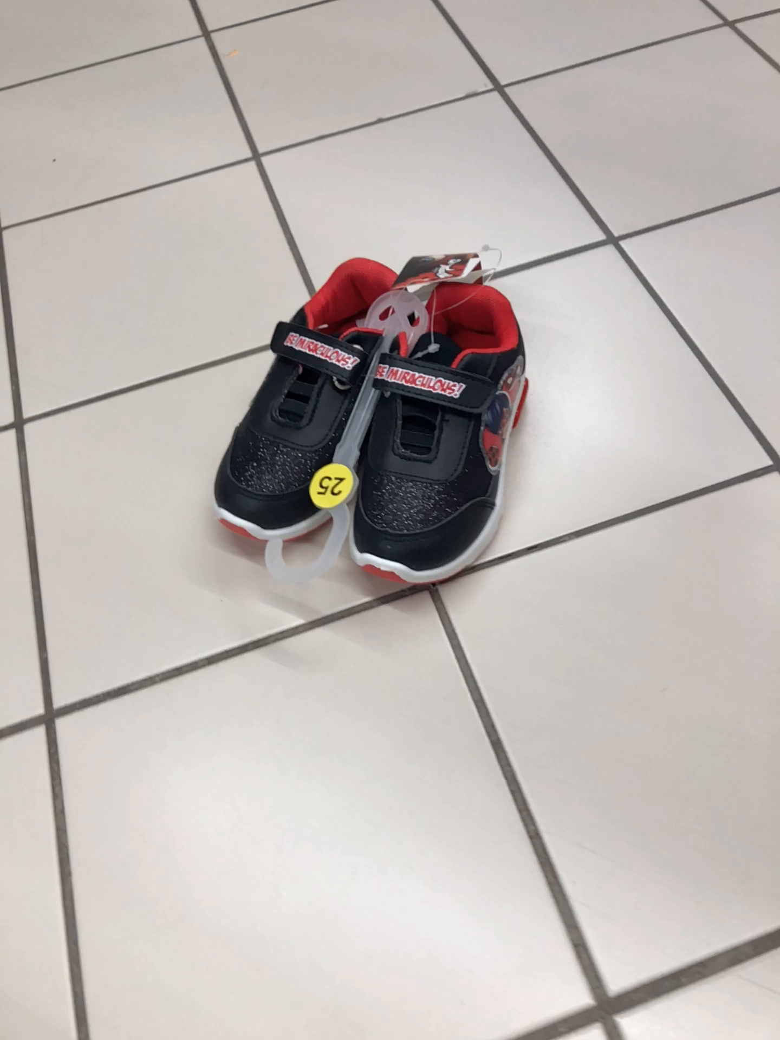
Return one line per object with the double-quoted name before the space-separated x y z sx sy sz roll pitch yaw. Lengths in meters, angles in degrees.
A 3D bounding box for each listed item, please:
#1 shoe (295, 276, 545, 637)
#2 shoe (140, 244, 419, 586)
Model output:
"shoe" 0.023 -0.038 0.446 0.077 0.071 0.168 12 59 14
"shoe" -0.050 -0.061 0.463 0.075 0.070 0.167 15 59 15
